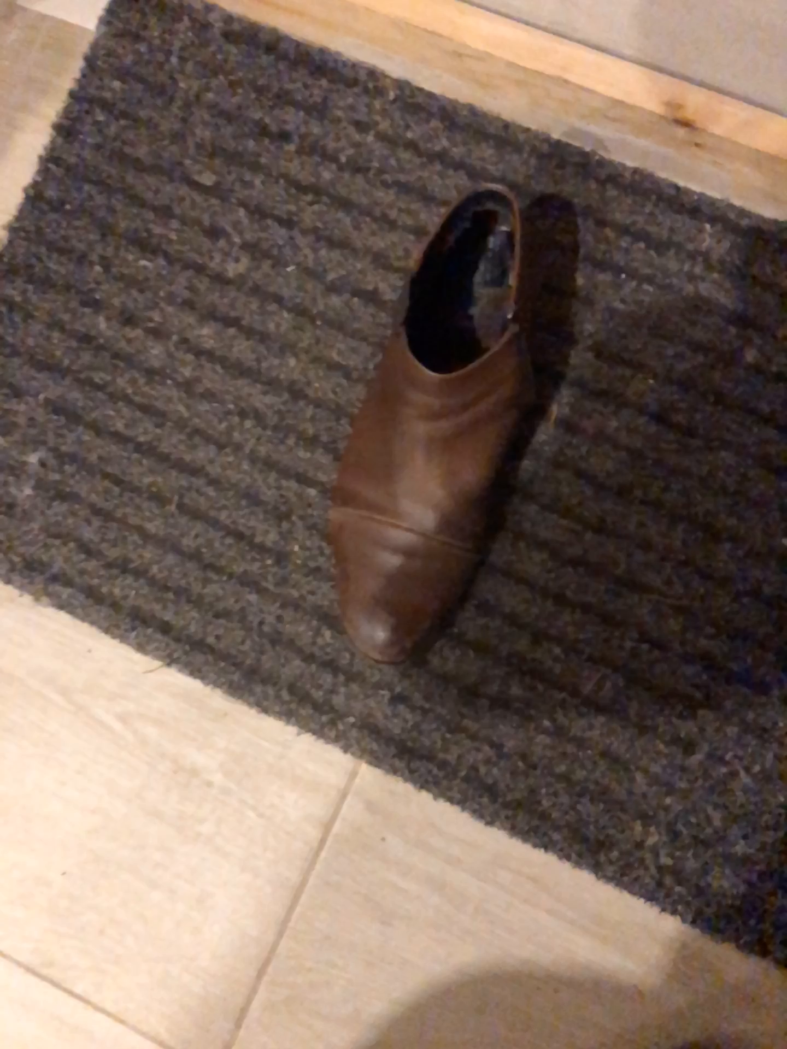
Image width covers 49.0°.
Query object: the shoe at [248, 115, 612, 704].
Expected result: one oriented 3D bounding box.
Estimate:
[{"bbox_3d":[0.027,-0.062,0.528,0.110,0.130,0.300,18,89,8],"label":"shoe"}]
